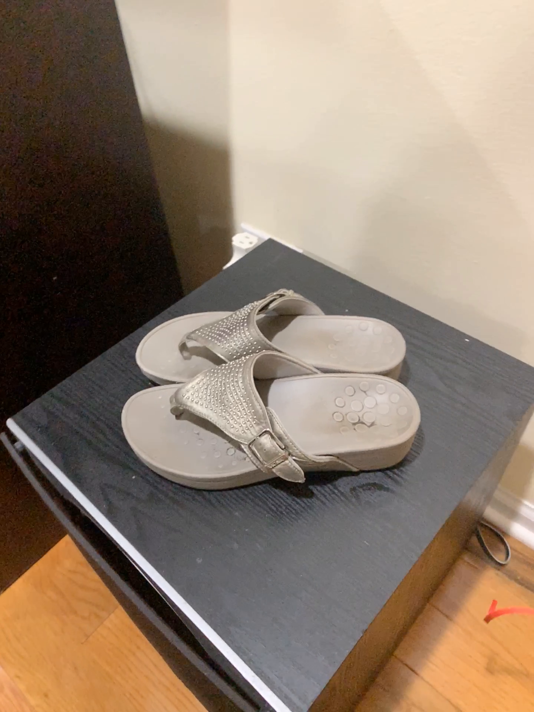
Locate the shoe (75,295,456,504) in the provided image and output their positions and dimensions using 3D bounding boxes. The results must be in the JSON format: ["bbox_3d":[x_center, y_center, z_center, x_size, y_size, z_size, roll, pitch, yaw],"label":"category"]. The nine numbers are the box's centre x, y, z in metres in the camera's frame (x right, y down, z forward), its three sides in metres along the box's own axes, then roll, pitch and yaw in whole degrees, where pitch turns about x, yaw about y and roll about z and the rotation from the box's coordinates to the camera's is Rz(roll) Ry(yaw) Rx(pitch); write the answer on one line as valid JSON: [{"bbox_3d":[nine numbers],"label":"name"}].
[{"bbox_3d":[-0.002,0.032,0.421,0.247,0.080,0.109,-6,48,-1],"label":"shoe"}]

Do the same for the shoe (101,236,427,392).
[{"bbox_3d":[0.000,-0.037,0.482,0.247,0.080,0.109,-1,48,4],"label":"shoe"}]
